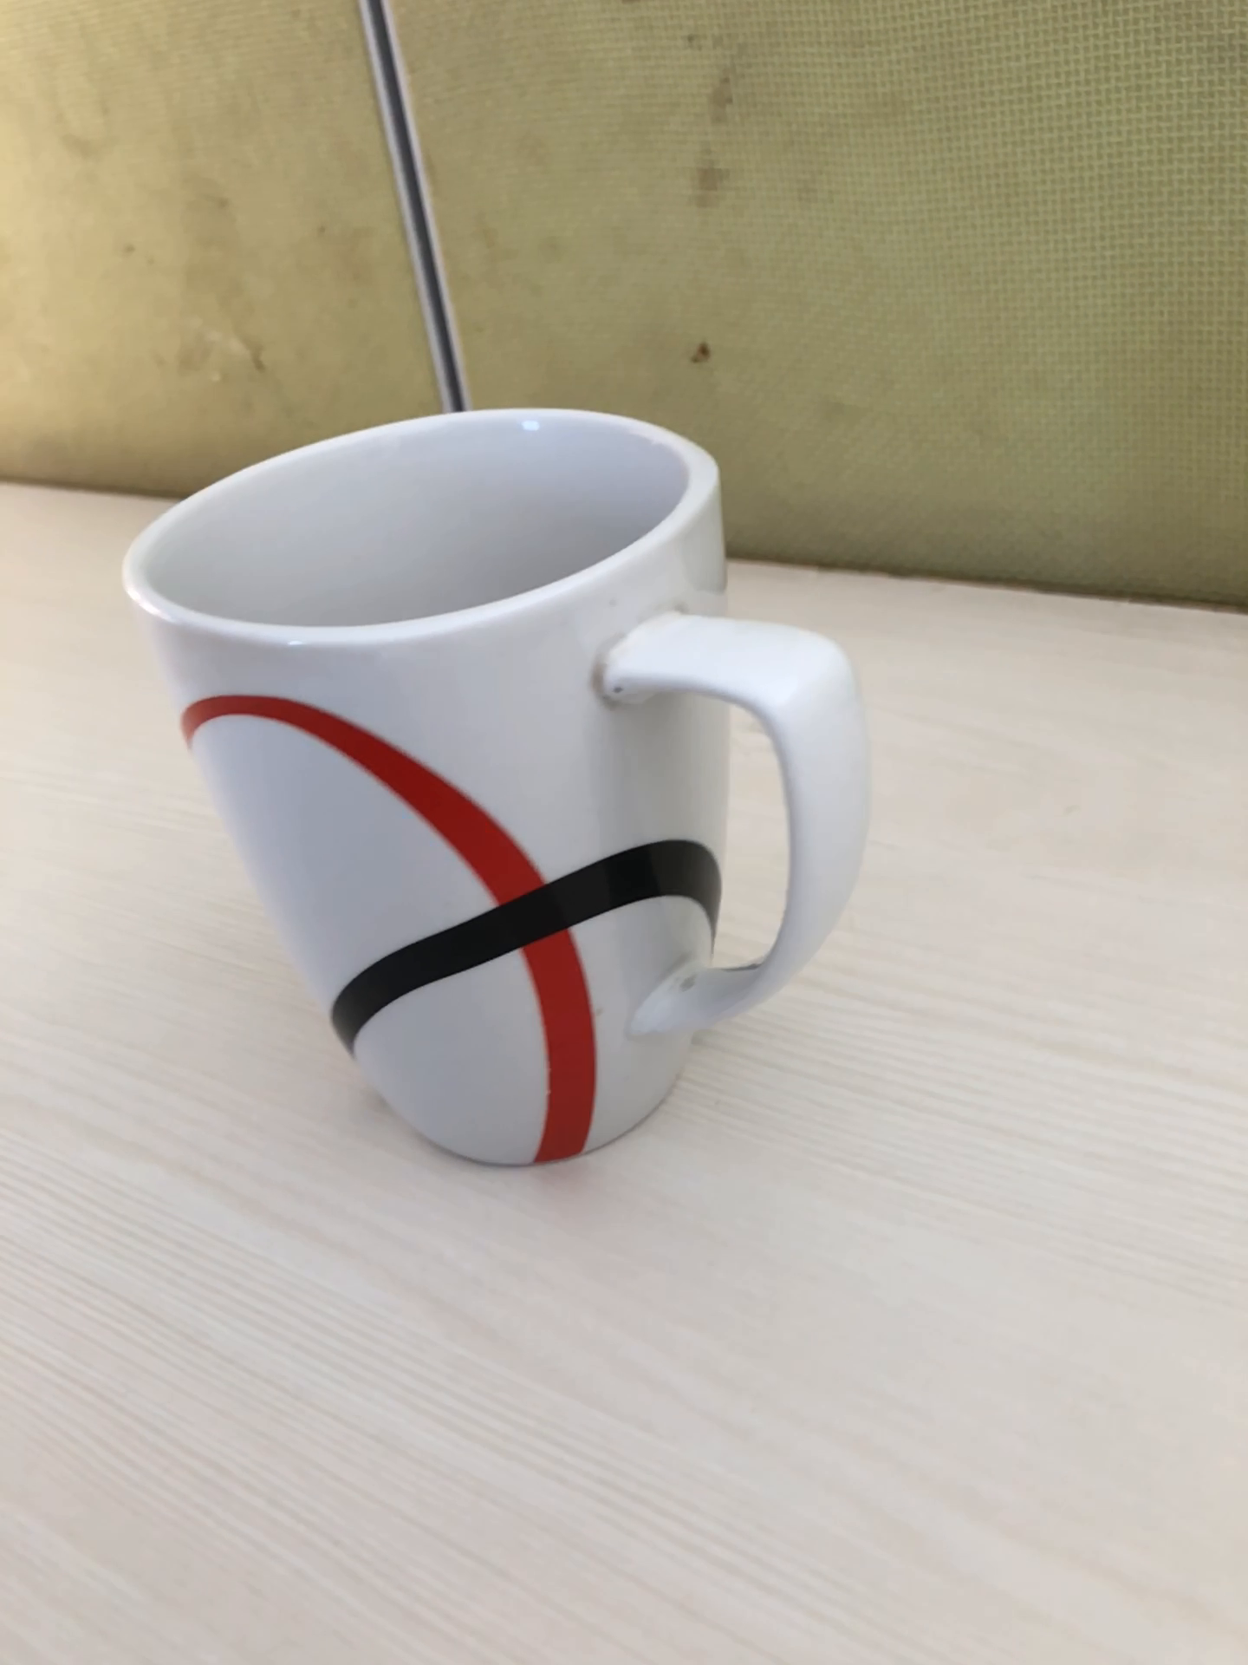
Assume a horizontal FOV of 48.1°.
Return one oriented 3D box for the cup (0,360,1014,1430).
[{"bbox_3d":[-0.025,-0.007,0.219,0.140,0.099,0.090,20,41,38],"label":"cup"}]
